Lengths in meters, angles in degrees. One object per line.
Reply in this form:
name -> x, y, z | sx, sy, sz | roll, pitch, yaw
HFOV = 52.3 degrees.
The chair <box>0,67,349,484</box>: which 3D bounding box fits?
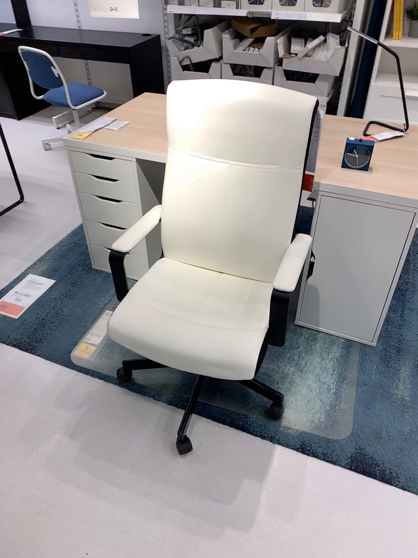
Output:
chair -> -0.052, -0.040, 1.345 | 0.691, 0.956, 0.702 | 14, 41, 18
